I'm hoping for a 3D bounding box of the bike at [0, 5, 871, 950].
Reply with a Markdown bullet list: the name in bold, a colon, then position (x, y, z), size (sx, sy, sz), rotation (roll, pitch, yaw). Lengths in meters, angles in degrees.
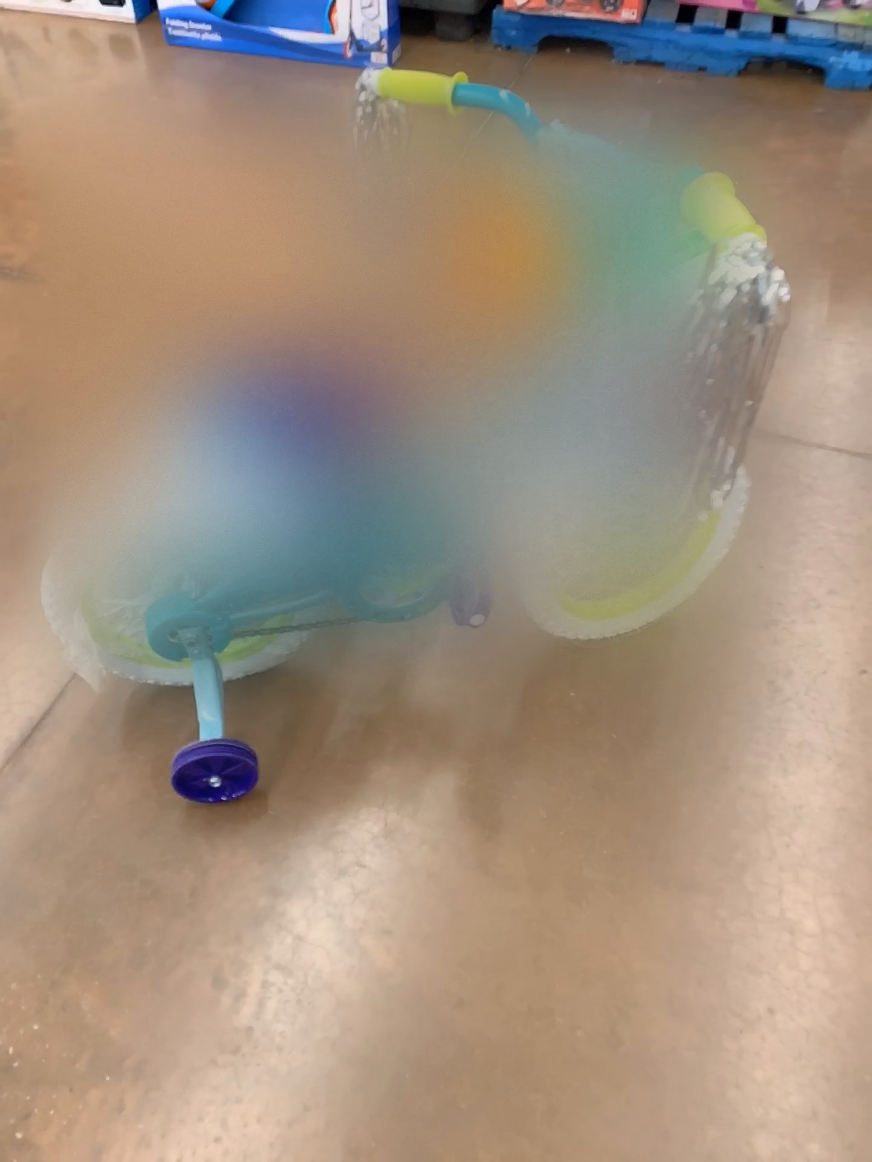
- **bike**: position (-0.008, -0.137, 0.948), size (0.859, 0.639, 0.625), rotation (-12, 50, -12)
